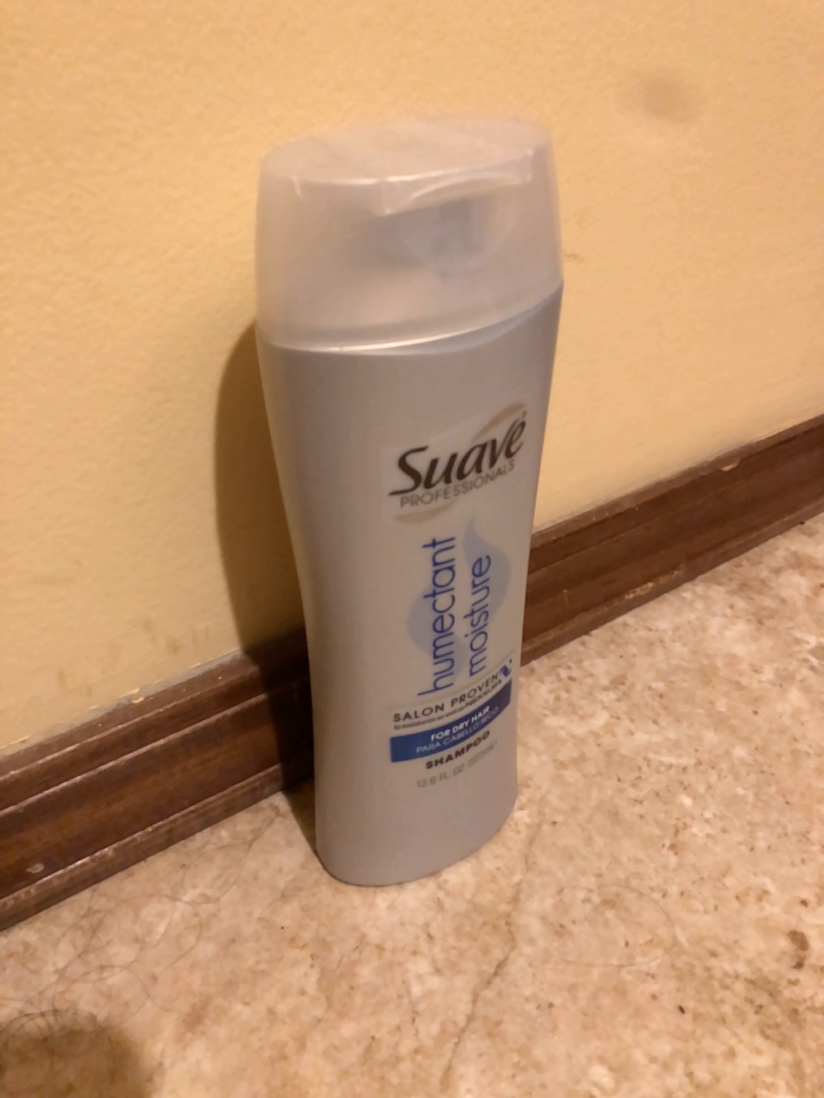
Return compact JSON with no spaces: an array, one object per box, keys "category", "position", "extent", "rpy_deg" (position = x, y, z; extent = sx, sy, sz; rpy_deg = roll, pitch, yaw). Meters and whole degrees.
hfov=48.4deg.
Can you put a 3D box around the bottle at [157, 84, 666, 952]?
[{"category":"bottle","position":[0.000,0.006,0.233],"extent":[0.080,0.209,0.050],"rpy_deg":[-22,42,-26]}]
